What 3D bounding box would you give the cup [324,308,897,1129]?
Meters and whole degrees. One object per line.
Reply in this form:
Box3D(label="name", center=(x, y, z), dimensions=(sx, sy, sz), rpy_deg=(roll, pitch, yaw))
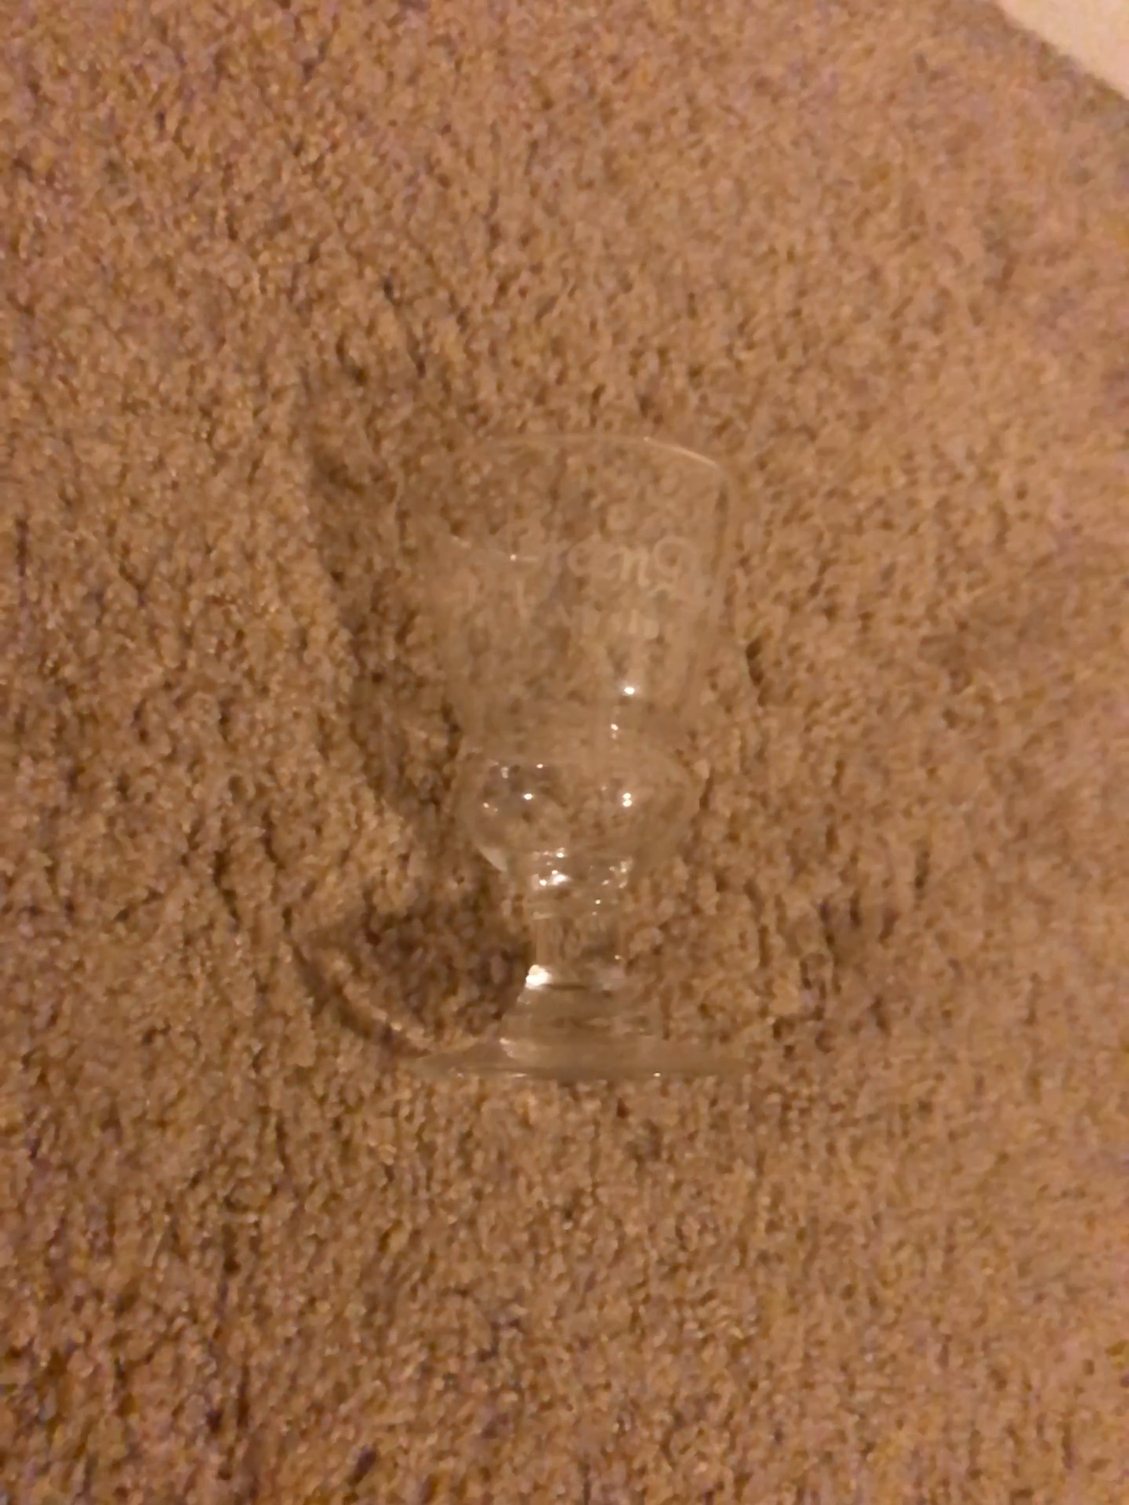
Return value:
Box3D(label="cup", center=(0.005, 0.000, 0.291), dimensions=(0.095, 0.078, 0.157), rpy_deg=(4, 75, -31))
